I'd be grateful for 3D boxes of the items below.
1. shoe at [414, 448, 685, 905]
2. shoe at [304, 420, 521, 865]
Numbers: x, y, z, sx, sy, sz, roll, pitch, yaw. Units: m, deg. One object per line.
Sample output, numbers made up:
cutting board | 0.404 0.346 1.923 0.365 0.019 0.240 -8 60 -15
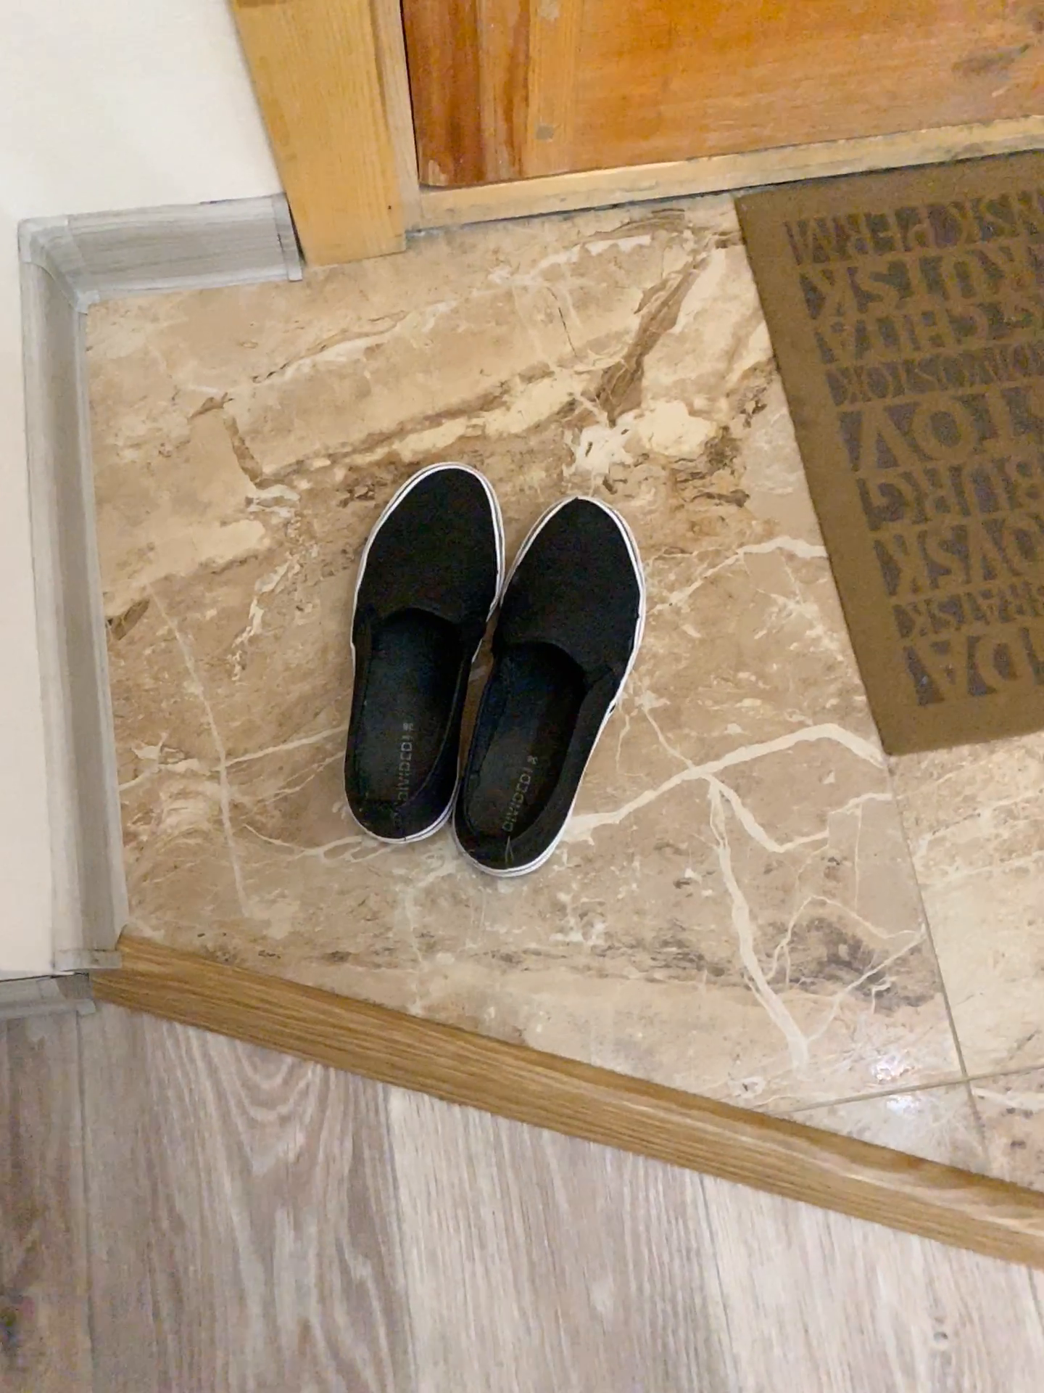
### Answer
shoe | 0.019 -0.013 0.635 0.090 0.060 0.250 16 75 4
shoe | -0.059 -0.033 0.638 0.090 0.060 0.250 6 74 1
